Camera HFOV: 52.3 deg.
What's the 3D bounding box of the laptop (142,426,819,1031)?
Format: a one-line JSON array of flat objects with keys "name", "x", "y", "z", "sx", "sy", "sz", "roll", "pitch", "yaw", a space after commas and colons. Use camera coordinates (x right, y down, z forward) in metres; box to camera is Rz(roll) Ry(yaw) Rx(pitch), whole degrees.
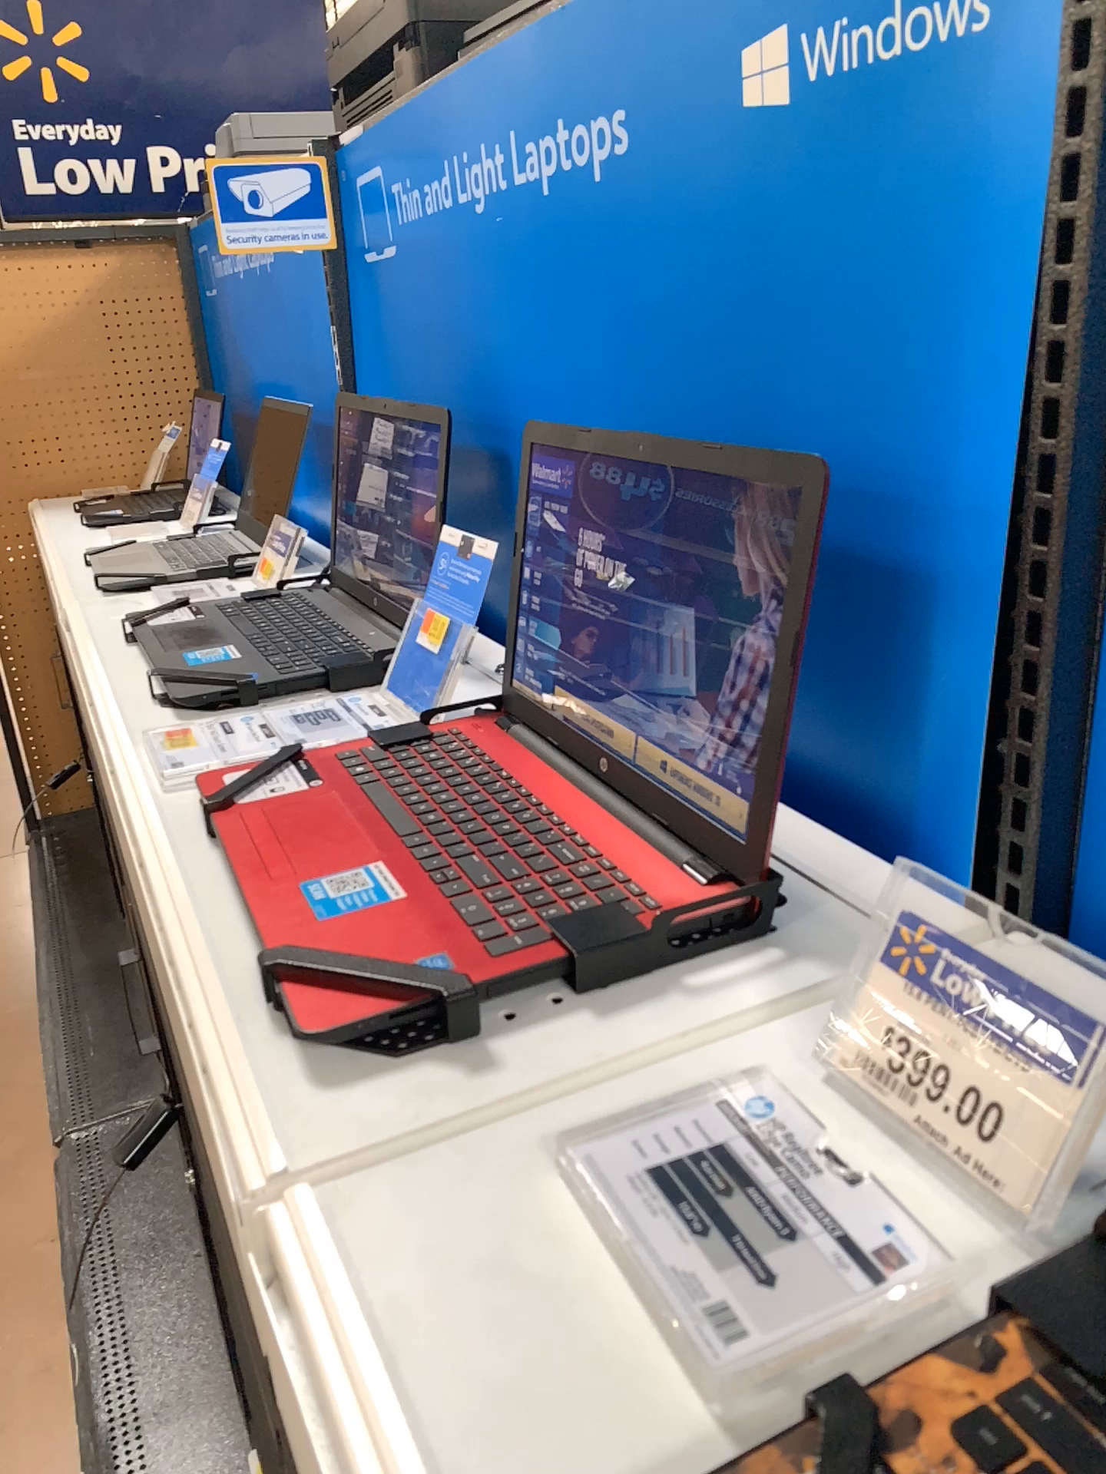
[{"name": "laptop", "x": -0.067, "y": -0.051, "z": 0.685, "sx": 0.279, "sy": 0.223, "sz": 0.365, "roll": -12, "pitch": 21, "yaw": -21}]
